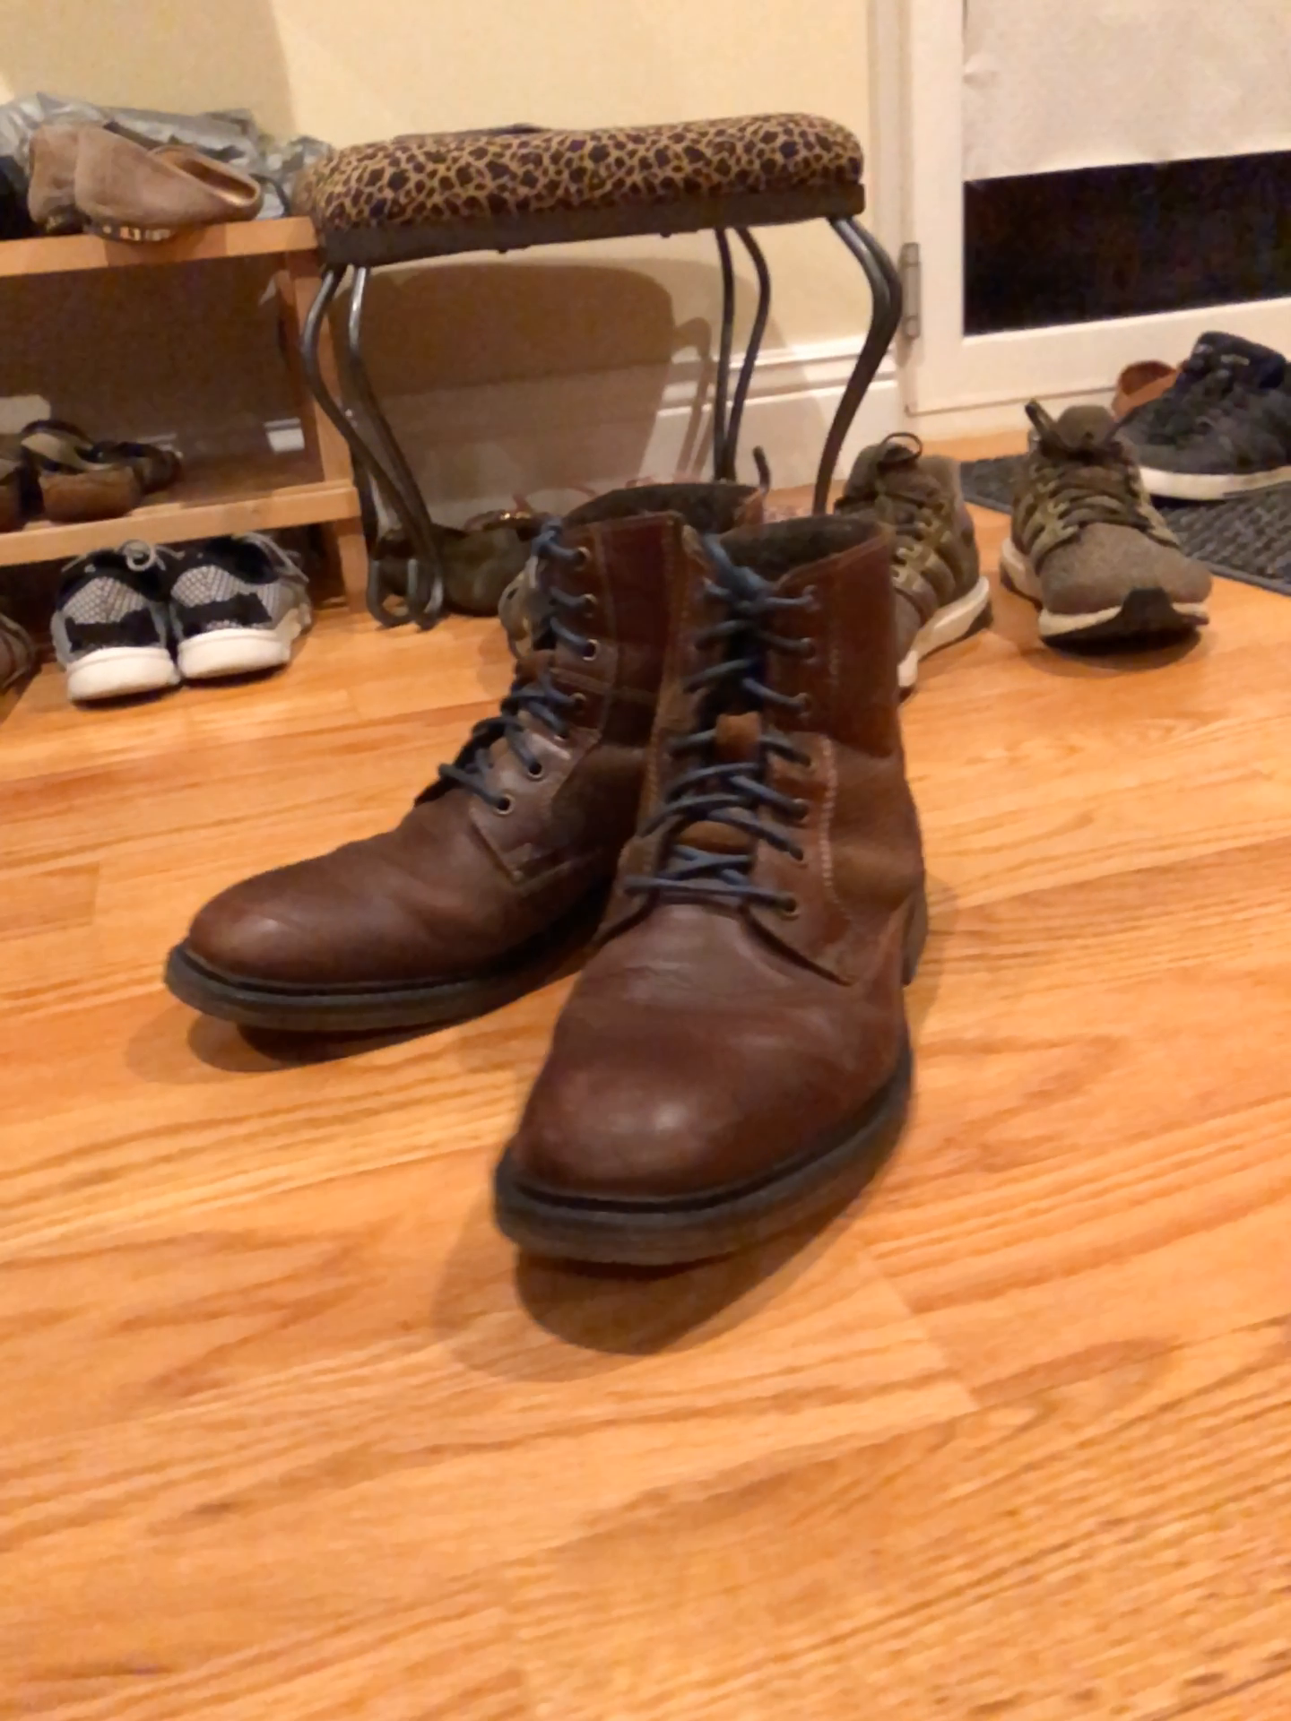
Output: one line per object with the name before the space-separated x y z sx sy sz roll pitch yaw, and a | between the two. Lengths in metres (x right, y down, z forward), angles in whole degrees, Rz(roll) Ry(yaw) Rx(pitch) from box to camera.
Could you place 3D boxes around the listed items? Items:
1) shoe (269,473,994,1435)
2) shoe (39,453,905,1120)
shoe | 0.032 -0.007 0.461 0.128 0.176 0.305 3 25 19
shoe | -0.050 -0.050 0.572 0.310 0.168 0.113 -20 27 -30
